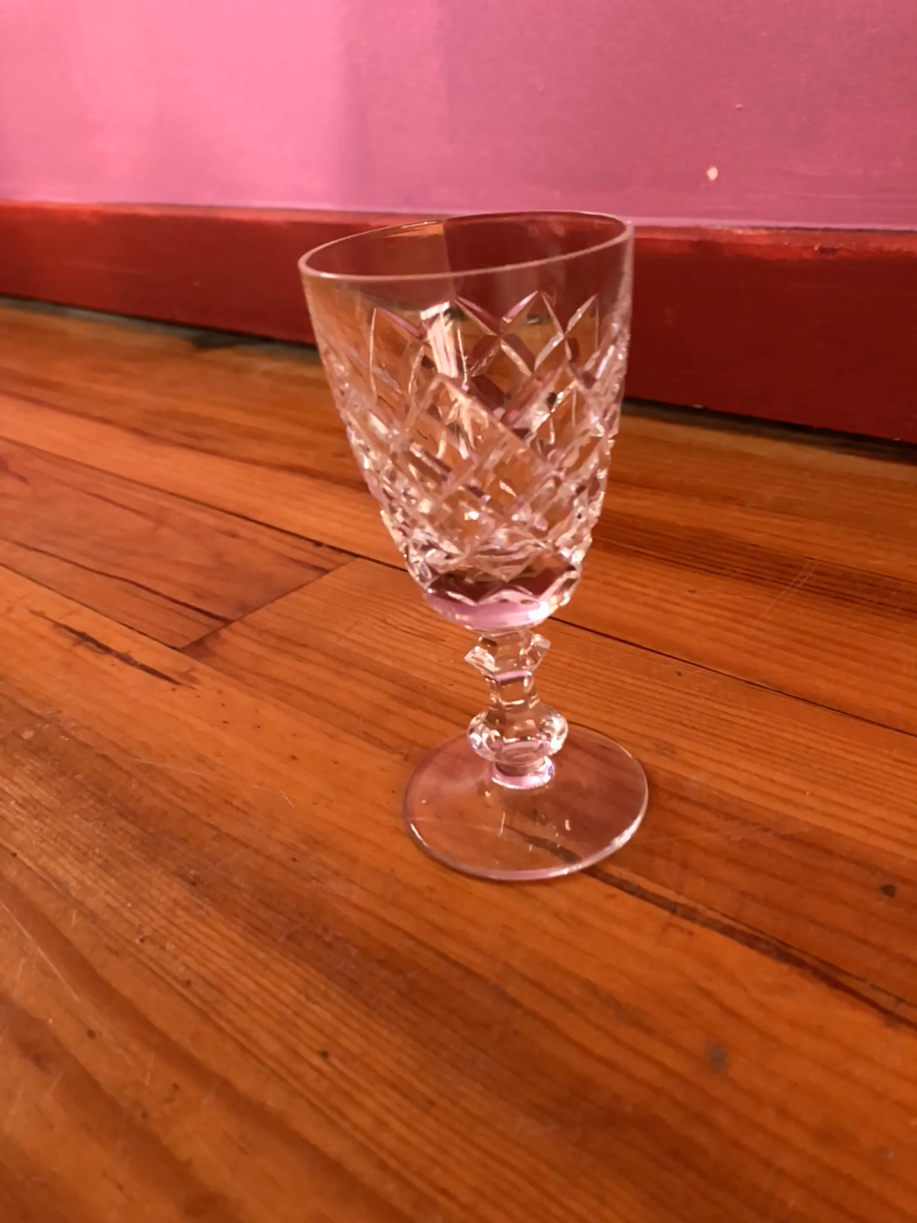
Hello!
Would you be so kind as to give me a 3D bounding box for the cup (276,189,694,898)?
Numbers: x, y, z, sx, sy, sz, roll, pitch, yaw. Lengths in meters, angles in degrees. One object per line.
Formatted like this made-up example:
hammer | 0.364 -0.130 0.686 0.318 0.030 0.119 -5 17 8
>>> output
cup | 0.010 -0.012 0.190 0.056 0.113 0.060 -6 27 3
